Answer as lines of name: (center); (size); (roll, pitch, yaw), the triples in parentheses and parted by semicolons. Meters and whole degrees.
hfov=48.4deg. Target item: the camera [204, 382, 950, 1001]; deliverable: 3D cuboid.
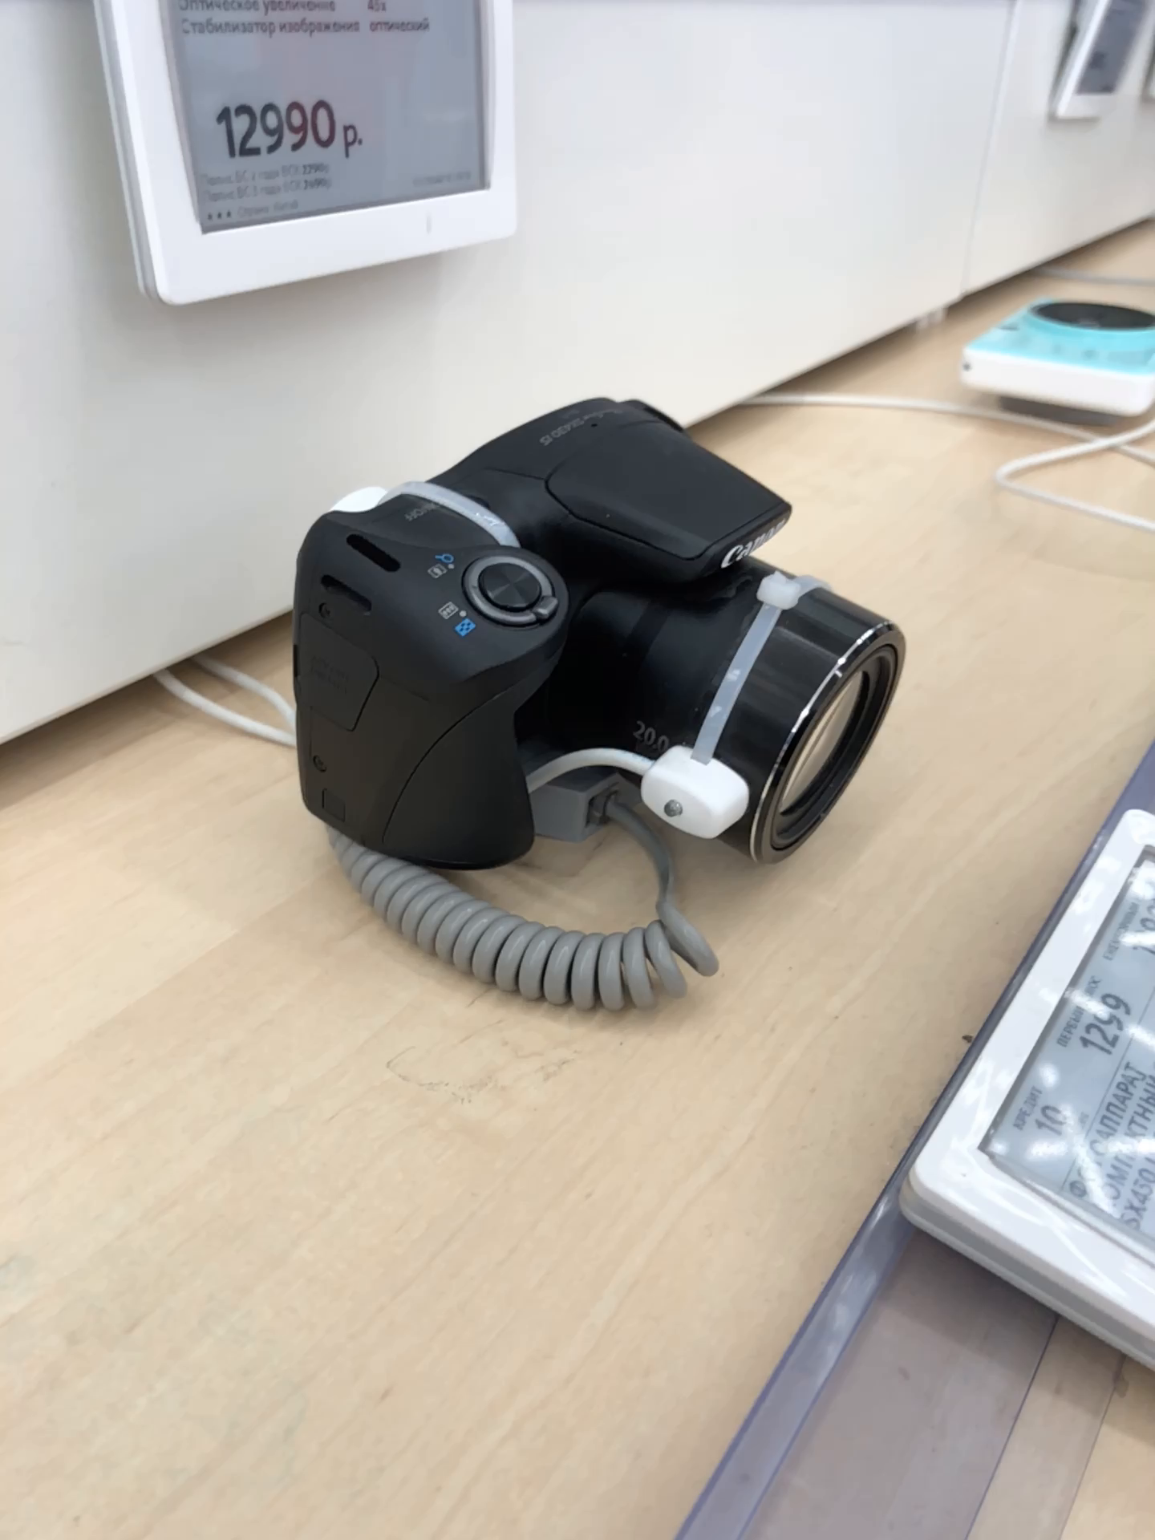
camera: (0.006, -0.027, 0.257); (0.093, 0.062, 0.117); (18, 35, 27)
